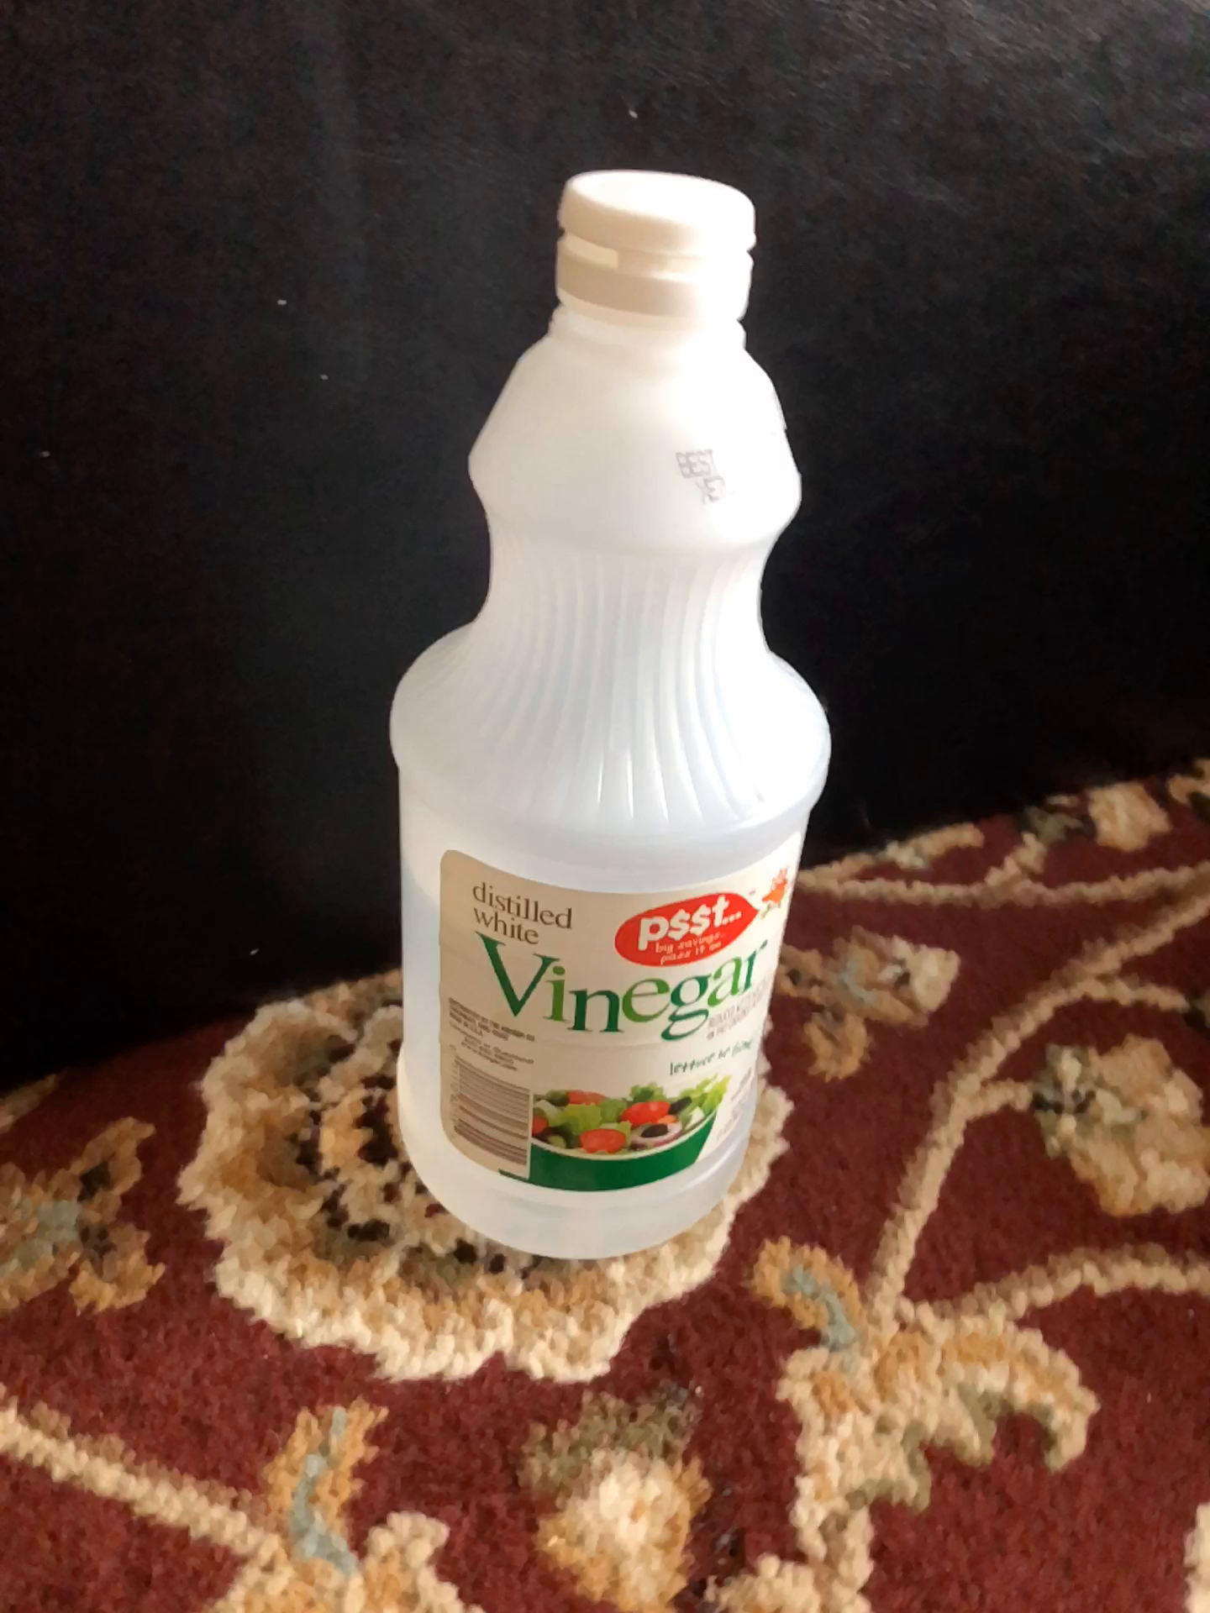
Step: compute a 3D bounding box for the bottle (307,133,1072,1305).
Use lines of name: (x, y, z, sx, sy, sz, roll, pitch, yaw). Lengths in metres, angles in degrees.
bottle: (0.000, -0.010, 0.281, 0.100, 0.219, 0.090, -6, 37, -15)
